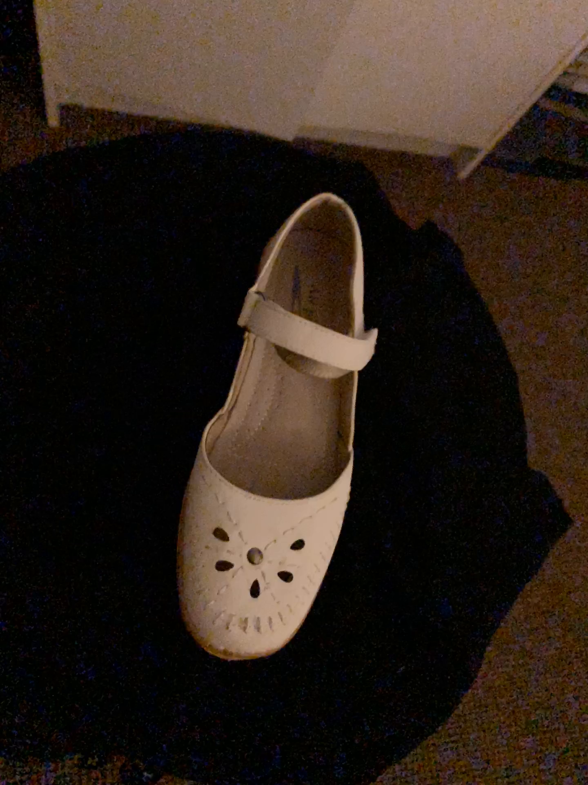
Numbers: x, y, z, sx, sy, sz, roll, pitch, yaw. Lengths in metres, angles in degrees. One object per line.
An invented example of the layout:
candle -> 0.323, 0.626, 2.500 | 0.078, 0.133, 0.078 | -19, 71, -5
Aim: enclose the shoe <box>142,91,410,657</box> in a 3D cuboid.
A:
shoe -> -0.008, -0.010, 0.337 | 0.097, 0.100, 0.271 | 11, 70, -14
